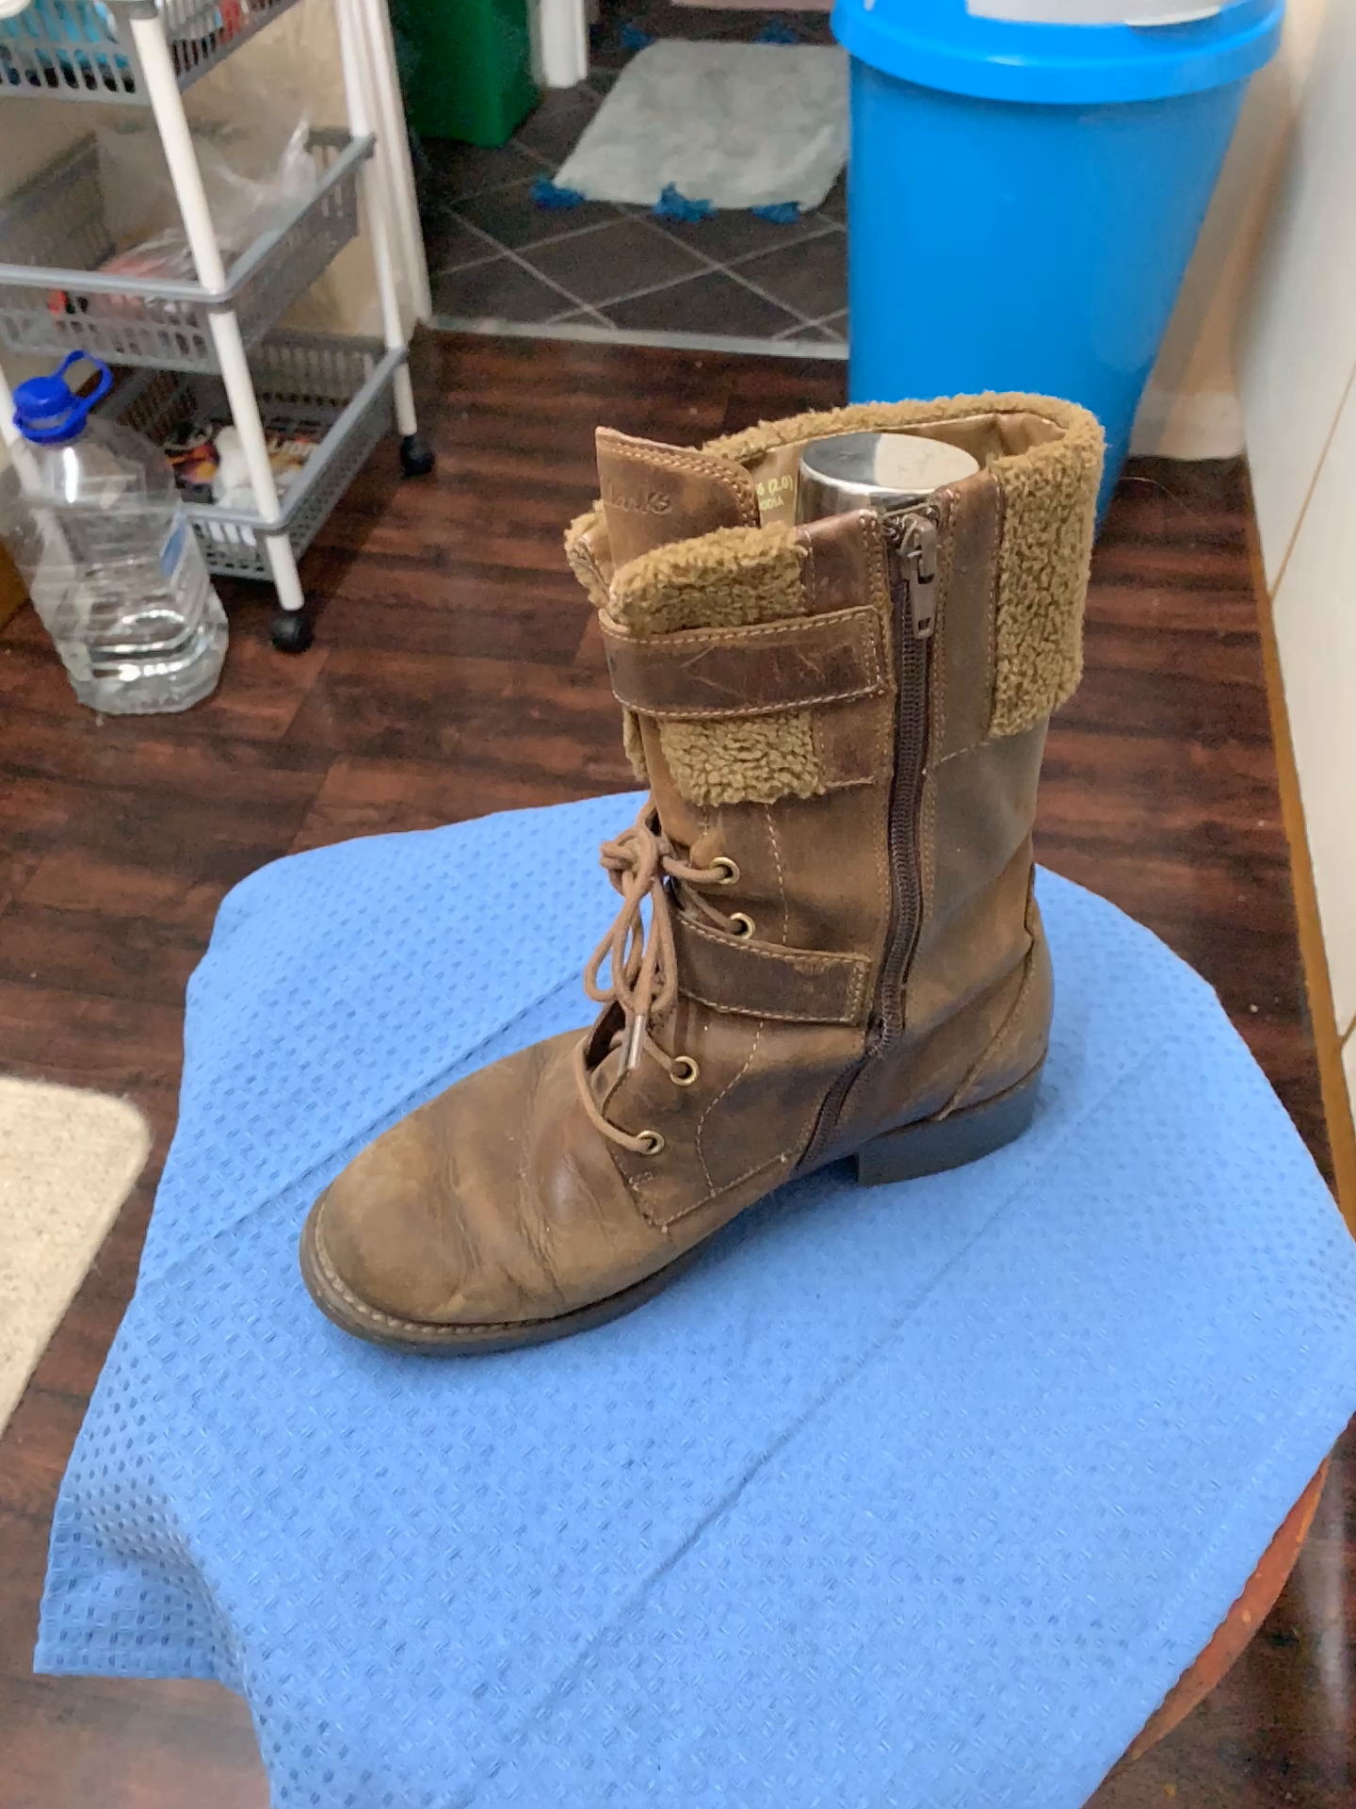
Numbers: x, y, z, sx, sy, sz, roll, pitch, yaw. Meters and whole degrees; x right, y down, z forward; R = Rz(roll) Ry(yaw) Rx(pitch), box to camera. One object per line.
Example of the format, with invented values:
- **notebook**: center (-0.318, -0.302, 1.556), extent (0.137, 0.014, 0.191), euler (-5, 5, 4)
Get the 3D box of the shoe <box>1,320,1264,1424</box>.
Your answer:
- **shoe**: center (-0.008, -0.006, 0.384), extent (0.250, 0.228, 0.121), euler (-13, 41, -10)
